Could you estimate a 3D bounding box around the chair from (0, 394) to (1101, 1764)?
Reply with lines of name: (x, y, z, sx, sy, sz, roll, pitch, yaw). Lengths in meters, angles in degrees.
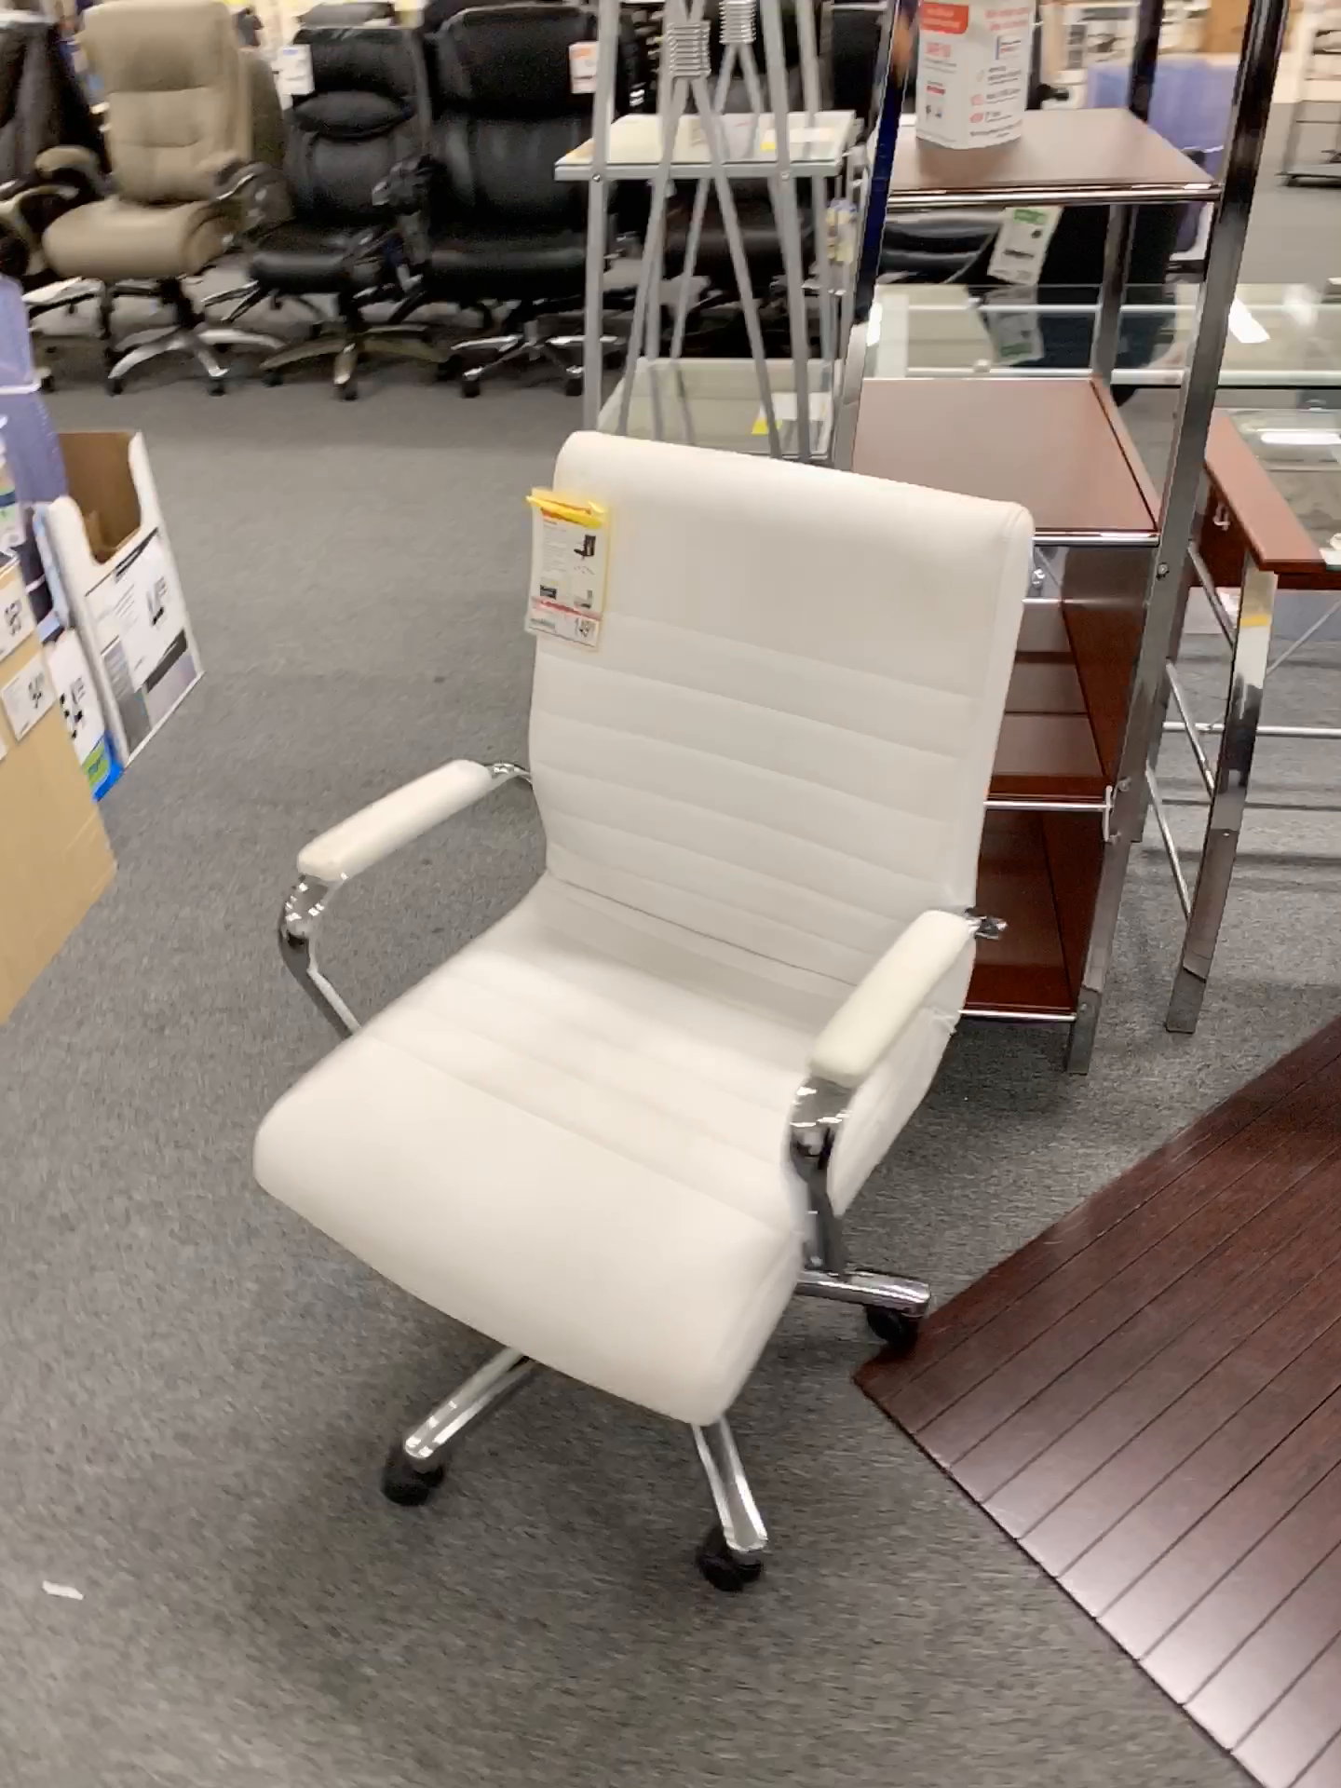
chair: (-0.077, 0.118, 1.293, 0.621, 0.905, 0.682, 19, 40, 27)
